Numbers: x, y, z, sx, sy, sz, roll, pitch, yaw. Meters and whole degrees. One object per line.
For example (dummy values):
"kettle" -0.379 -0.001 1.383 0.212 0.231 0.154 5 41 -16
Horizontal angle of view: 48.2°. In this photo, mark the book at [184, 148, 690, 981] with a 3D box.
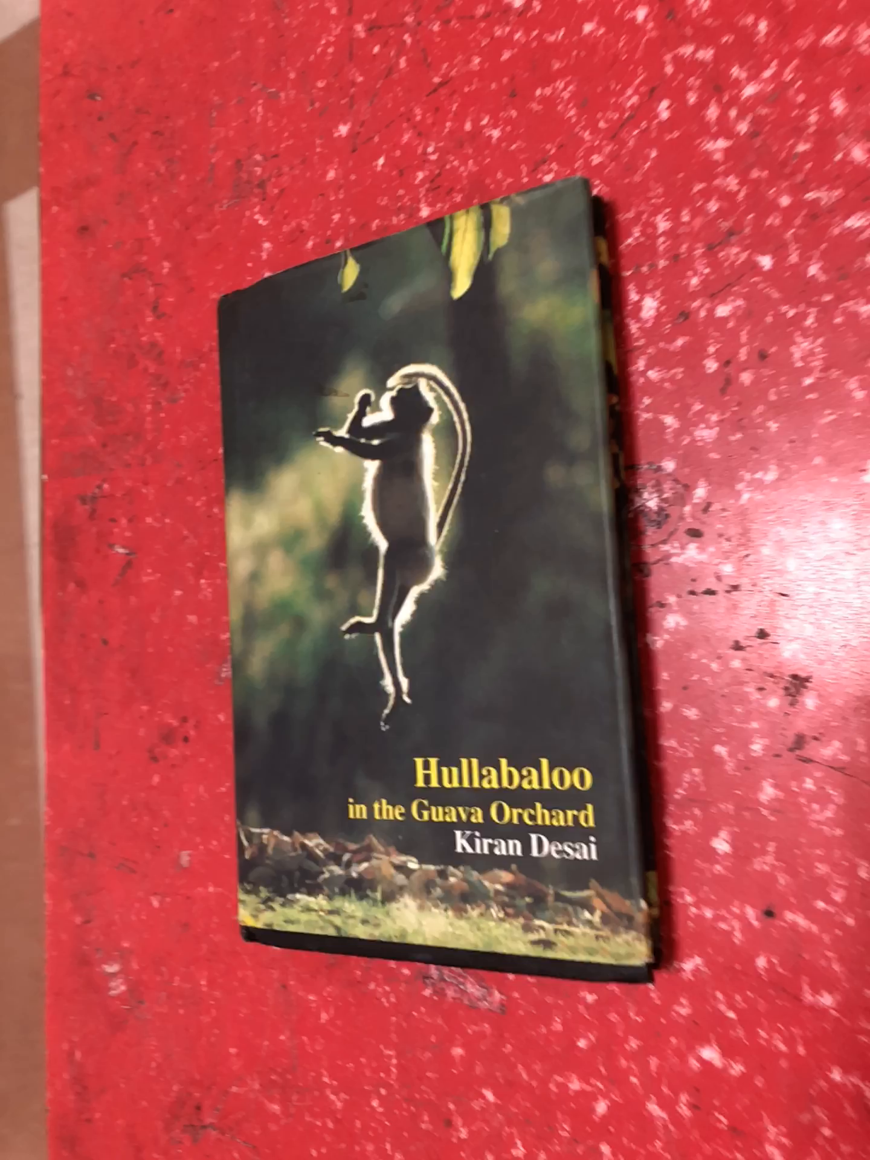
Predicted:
"book" -0.010 0.000 0.319 0.161 0.030 0.230 -7 83 31
